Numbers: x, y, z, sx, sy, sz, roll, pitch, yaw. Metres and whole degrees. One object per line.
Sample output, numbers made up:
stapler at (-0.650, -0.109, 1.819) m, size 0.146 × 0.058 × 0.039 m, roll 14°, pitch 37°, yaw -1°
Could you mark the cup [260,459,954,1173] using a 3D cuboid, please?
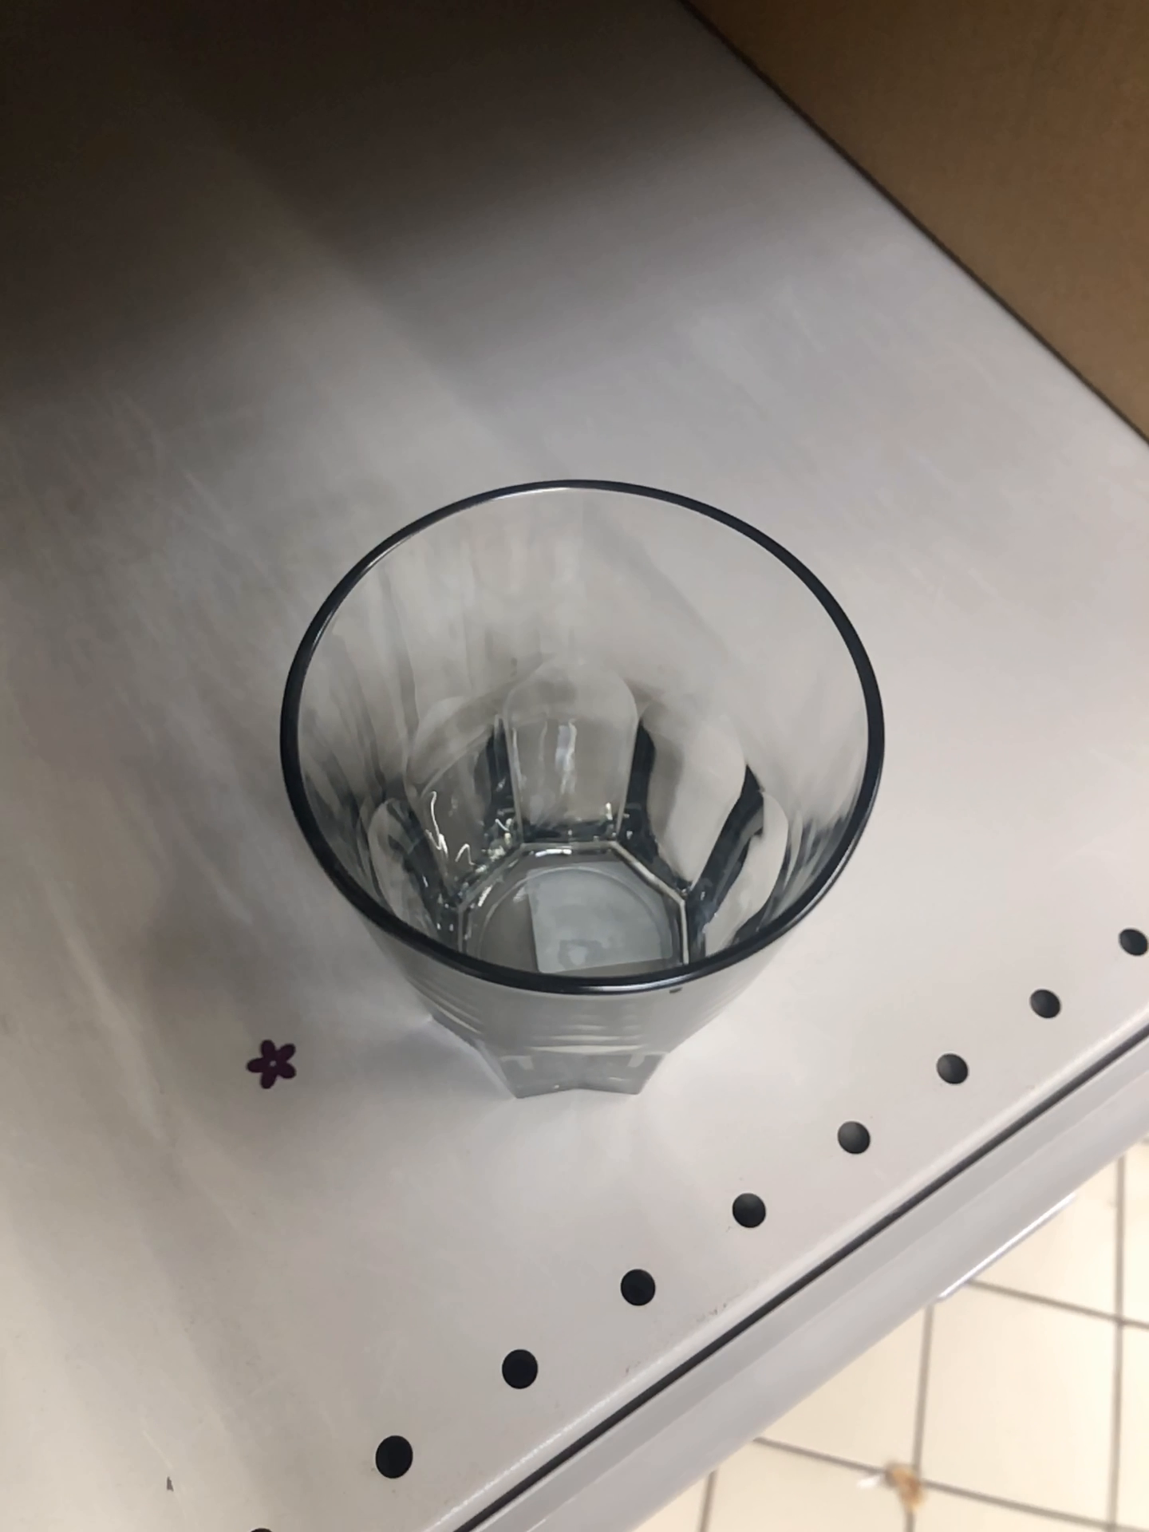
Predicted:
cup at (0.000, 0.013, 0.218) m, size 0.086 × 0.092 × 0.083 m, roll 1°, pitch 61°, yaw -1°
